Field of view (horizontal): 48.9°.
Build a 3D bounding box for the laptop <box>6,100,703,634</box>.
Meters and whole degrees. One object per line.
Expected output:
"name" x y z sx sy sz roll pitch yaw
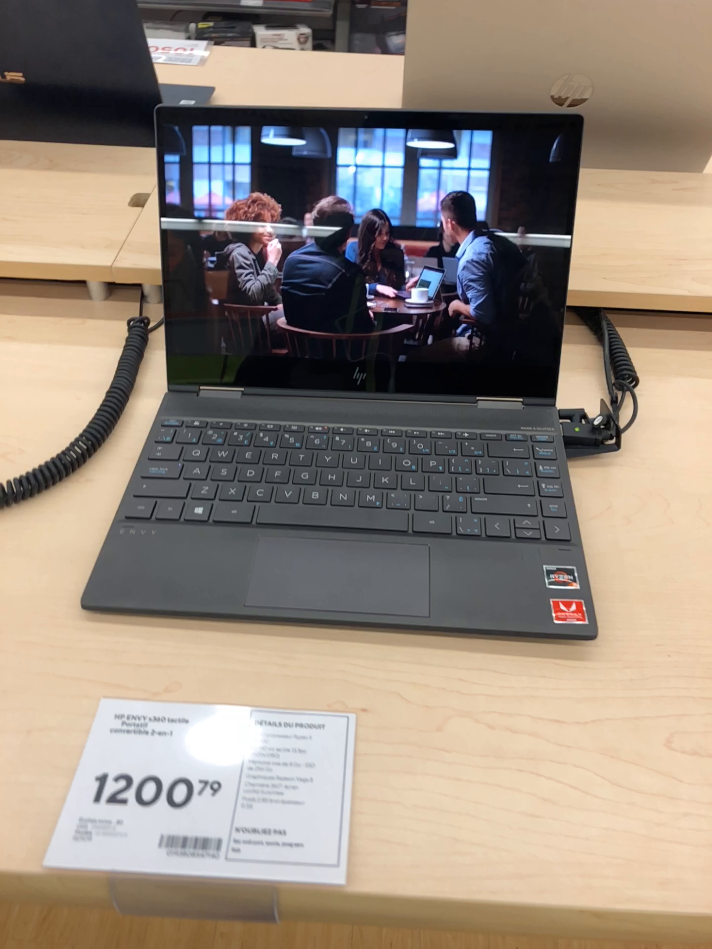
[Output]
"laptop" 0.000 -0.083 0.495 0.294 0.182 0.289 3 44 1
